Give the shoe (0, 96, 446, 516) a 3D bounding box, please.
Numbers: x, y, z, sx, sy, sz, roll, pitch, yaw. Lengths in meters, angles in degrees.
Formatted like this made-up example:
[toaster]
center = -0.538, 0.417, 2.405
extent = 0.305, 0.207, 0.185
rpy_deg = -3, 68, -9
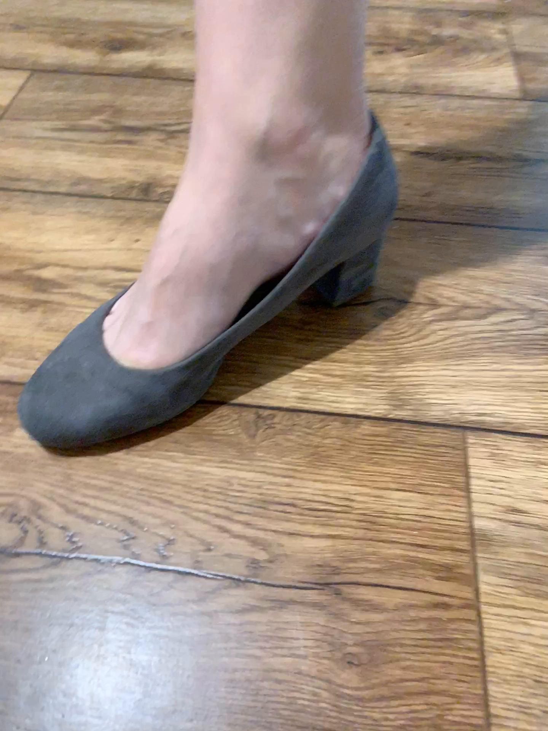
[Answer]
[shoe]
center = -0.032, -0.034, 0.286
extent = 0.210, 0.109, 0.084
rpy_deg = -28, 57, -18
